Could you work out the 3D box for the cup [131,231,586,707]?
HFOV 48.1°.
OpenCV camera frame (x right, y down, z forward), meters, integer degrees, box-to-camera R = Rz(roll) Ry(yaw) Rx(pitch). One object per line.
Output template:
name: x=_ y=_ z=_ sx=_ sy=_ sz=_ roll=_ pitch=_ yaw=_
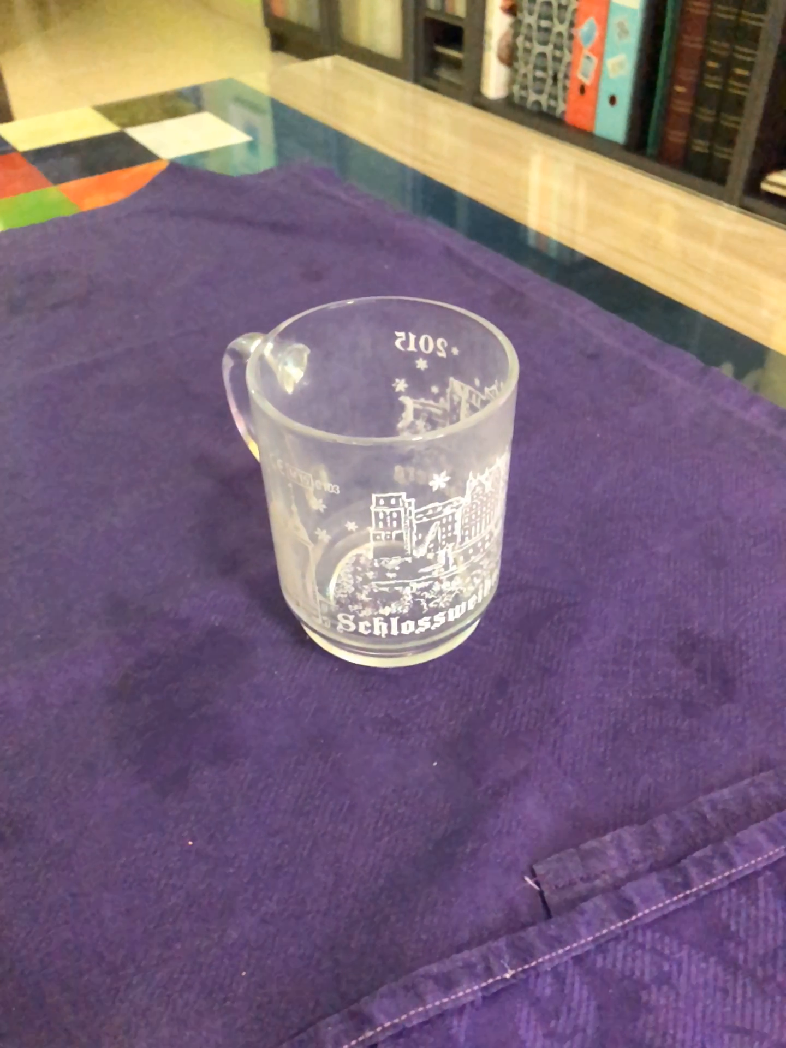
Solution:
cup: x=-0.012 y=-0.021 z=0.254 sx=0.070 sy=0.080 sz=0.100 roll=-30 pitch=49 yaw=-30
